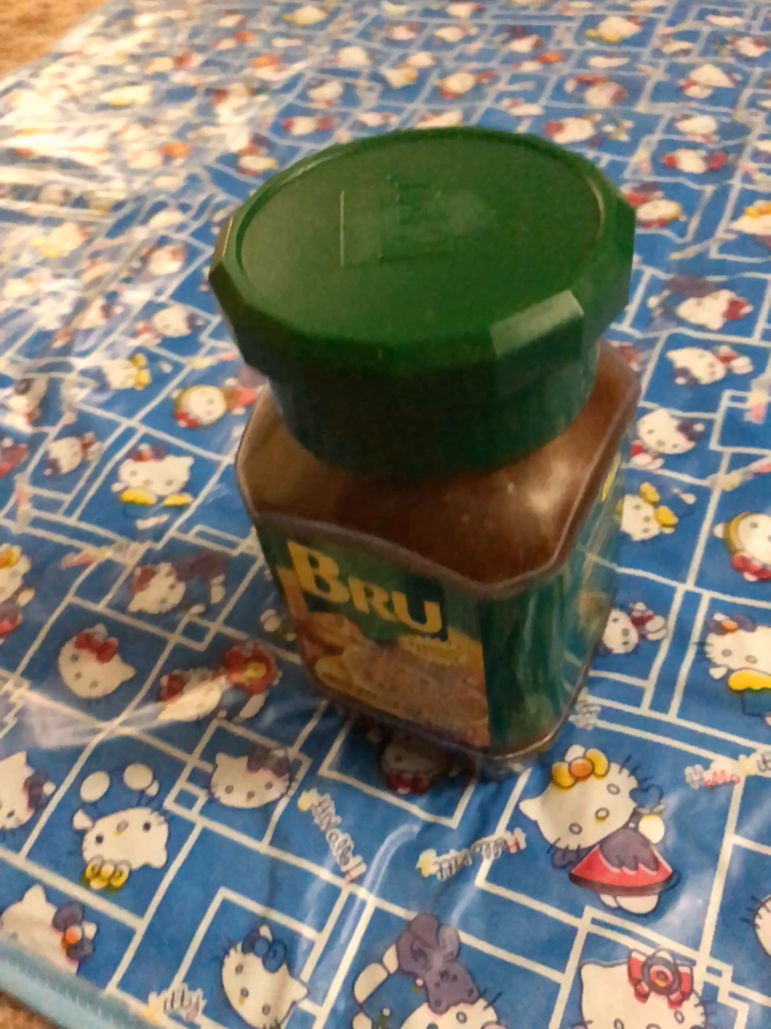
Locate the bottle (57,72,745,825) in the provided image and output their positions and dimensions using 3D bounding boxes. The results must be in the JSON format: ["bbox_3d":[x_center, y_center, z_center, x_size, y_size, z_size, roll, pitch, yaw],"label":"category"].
[{"bbox_3d":[0.011,-0.009,0.174,0.080,0.120,0.070,18,55,23],"label":"bottle"}]
